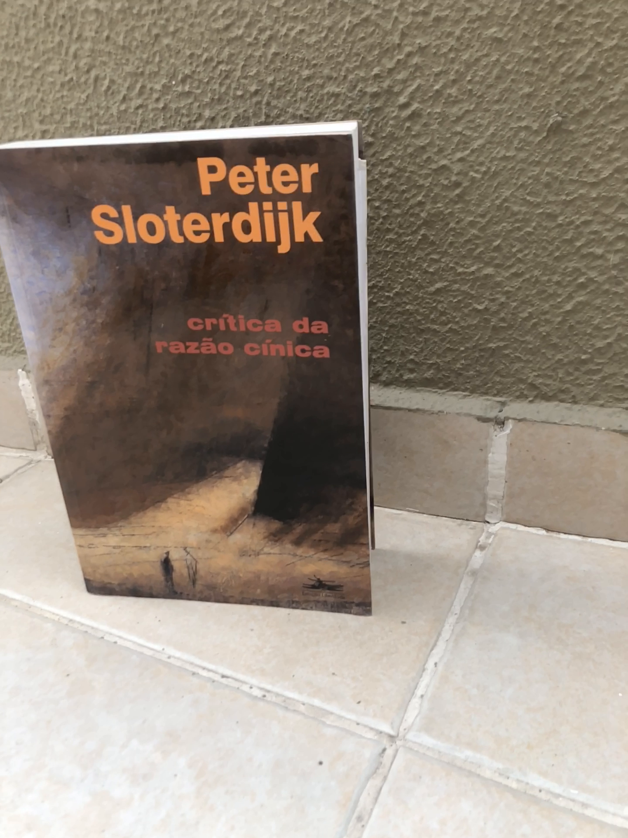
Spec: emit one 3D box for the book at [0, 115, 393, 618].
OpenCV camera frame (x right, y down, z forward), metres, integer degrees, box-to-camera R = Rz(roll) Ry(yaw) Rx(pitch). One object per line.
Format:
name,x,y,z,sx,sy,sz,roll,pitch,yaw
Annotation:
book,-0.050,-0.018,0.330,0.165,0.220,0.058,1,26,11
